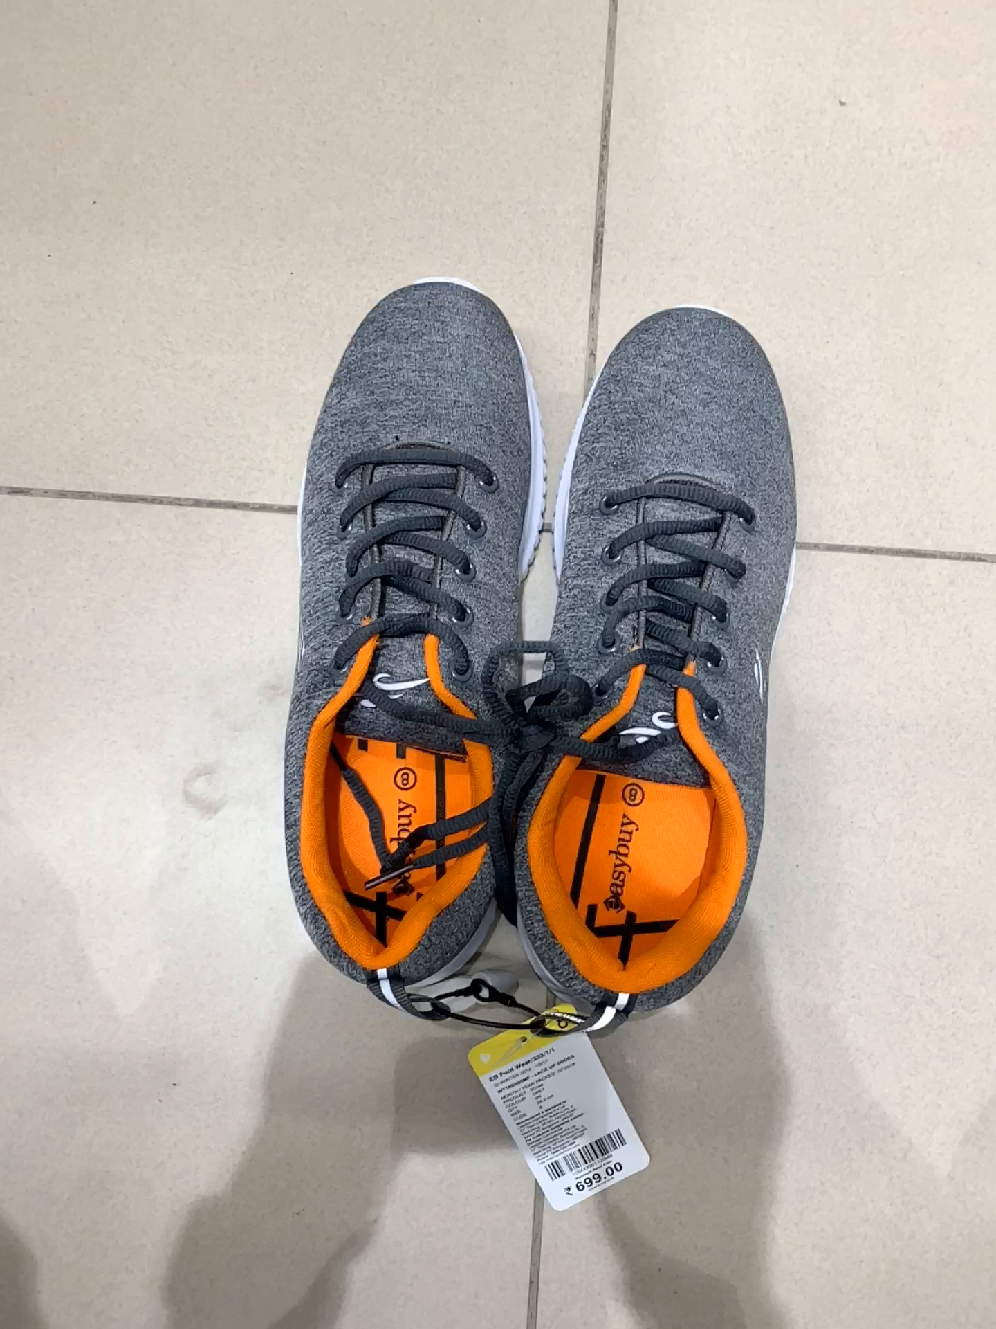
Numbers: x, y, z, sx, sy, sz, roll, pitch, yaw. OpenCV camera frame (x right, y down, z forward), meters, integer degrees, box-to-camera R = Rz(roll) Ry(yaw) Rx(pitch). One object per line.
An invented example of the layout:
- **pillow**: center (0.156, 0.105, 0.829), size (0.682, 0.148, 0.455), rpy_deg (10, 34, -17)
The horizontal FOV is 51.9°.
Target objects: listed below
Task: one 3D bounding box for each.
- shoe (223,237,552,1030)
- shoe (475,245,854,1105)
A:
- **shoe**: center (-0.036, -0.013, 0.406), size (0.100, 0.090, 0.280), rpy_deg (2, 82, 1)
- **shoe**: center (0.064, 0.001, 0.411), size (0.100, 0.090, 0.300), rpy_deg (8, 82, 2)
